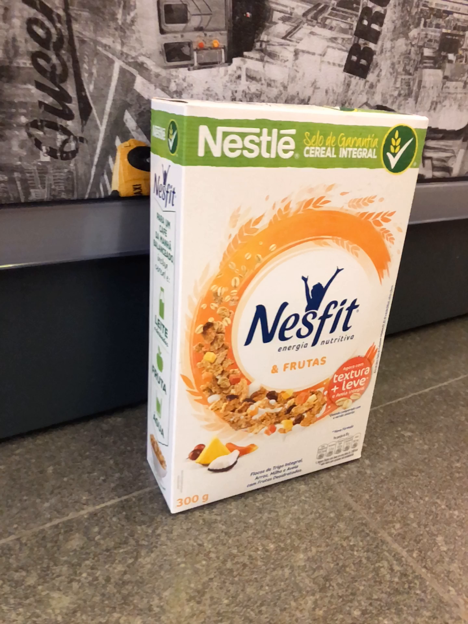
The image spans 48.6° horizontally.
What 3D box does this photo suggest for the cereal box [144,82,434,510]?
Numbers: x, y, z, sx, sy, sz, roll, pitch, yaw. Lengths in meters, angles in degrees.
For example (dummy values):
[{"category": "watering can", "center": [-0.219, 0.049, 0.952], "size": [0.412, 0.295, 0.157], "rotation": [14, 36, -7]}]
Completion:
[{"category": "cereal box", "center": [0.024, -0.010, 0.343], "size": [0.150, 0.248, 0.070], "rotation": [-8, 27, -26]}]
